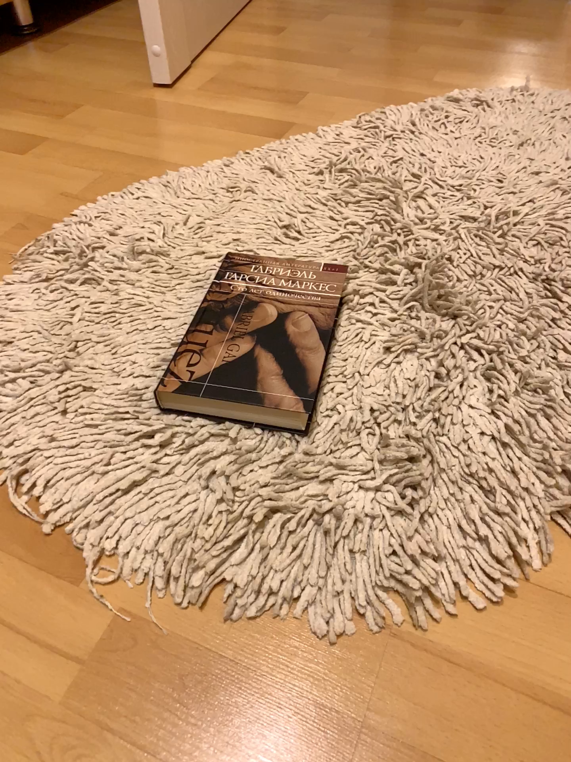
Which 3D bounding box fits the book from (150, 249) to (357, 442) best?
[{"bbox_3d":[-0.018,-0.045,0.545,0.140,0.030,0.212,9,47,10],"label":"book"}]
